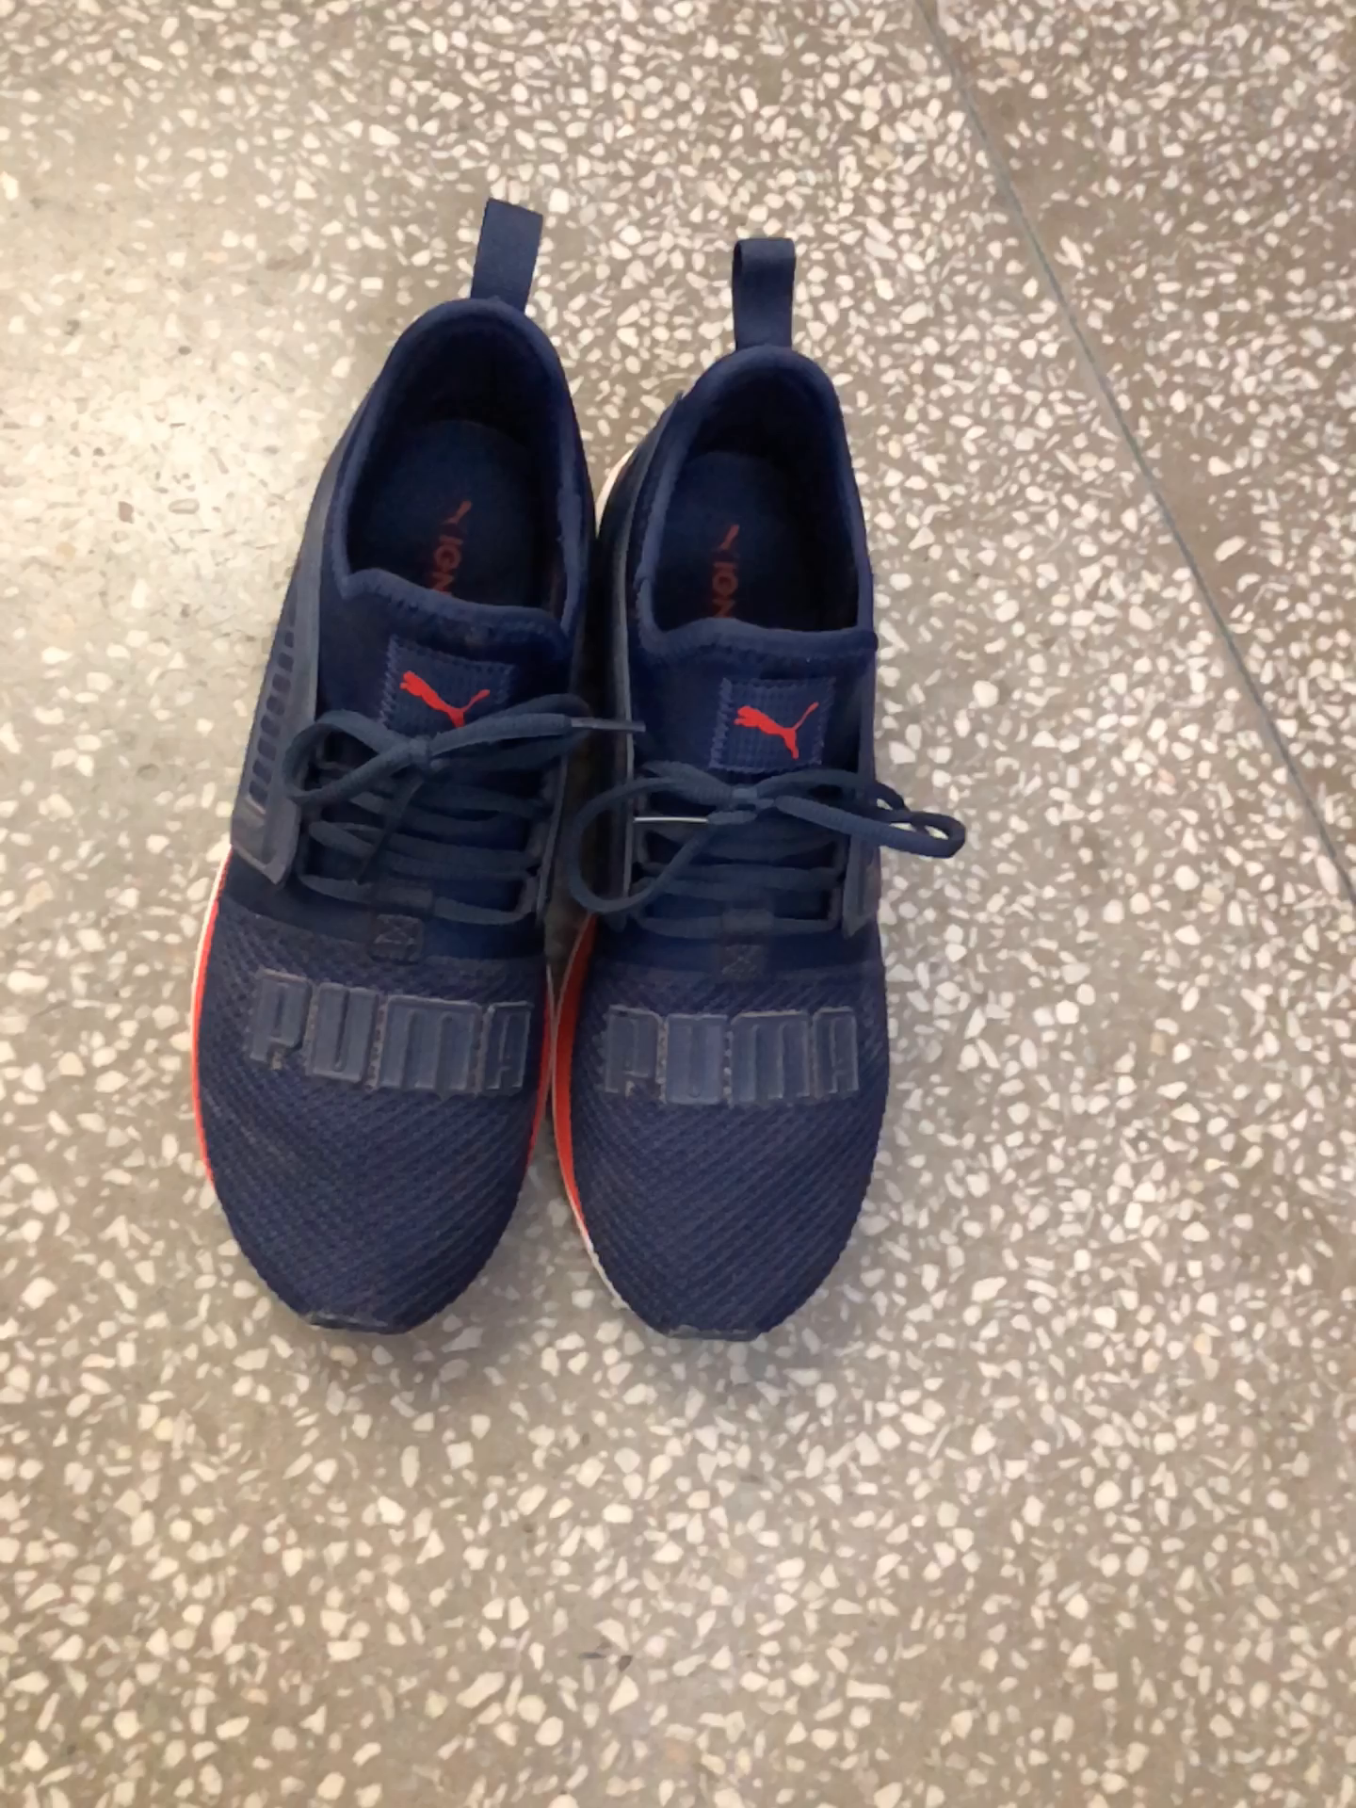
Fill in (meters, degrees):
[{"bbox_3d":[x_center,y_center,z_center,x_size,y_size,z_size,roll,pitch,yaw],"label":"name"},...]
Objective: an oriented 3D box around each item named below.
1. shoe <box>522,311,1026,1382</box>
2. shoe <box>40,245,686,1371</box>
[{"bbox_3d":[0.024,-0.009,0.417,0.107,0.113,0.257,5,77,-9],"label":"shoe"},{"bbox_3d":[-0.074,-0.019,0.403,0.107,0.113,0.257,9,76,-8],"label":"shoe"}]
